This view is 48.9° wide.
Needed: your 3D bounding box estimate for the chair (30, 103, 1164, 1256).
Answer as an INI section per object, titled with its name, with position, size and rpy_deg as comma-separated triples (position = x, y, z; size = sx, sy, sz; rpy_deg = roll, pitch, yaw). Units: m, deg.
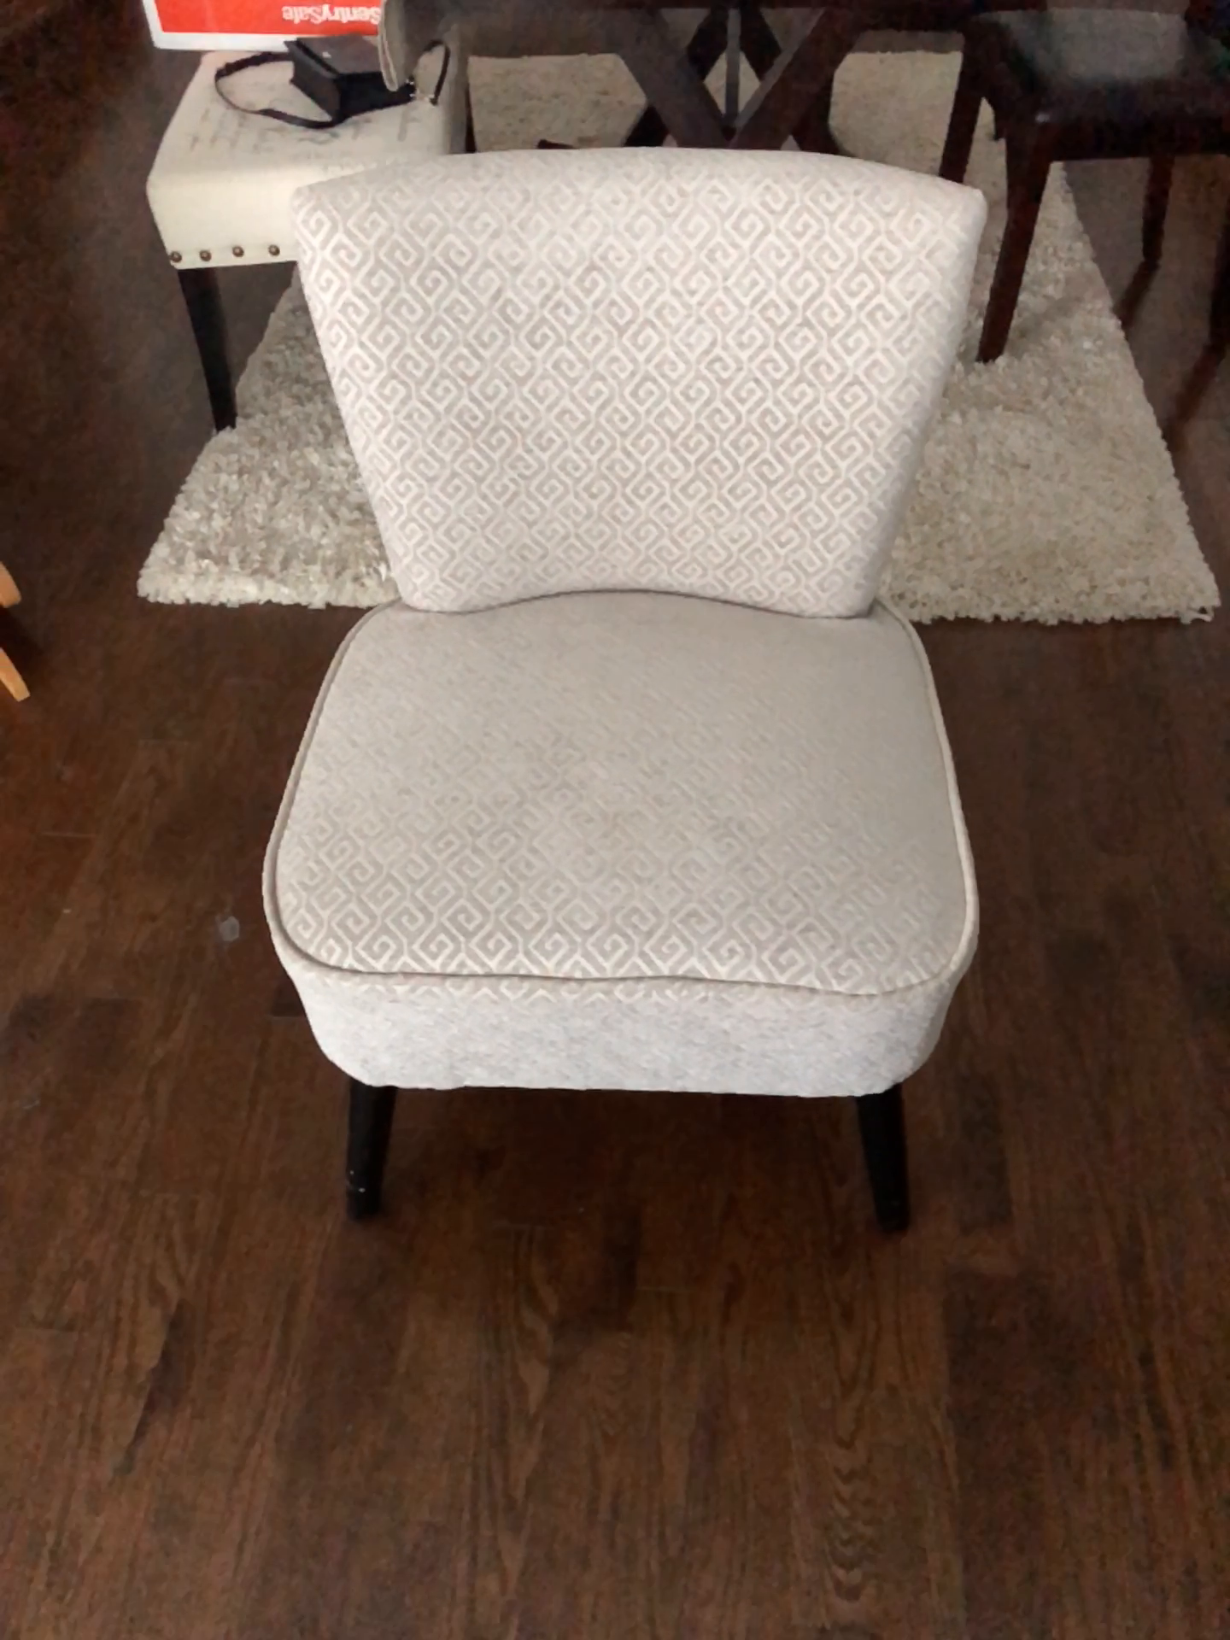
[chair]
position = 0.011, -0.103, 1.223
size = 0.600, 0.797, 0.642
rpy_deg = 2, 47, 3
